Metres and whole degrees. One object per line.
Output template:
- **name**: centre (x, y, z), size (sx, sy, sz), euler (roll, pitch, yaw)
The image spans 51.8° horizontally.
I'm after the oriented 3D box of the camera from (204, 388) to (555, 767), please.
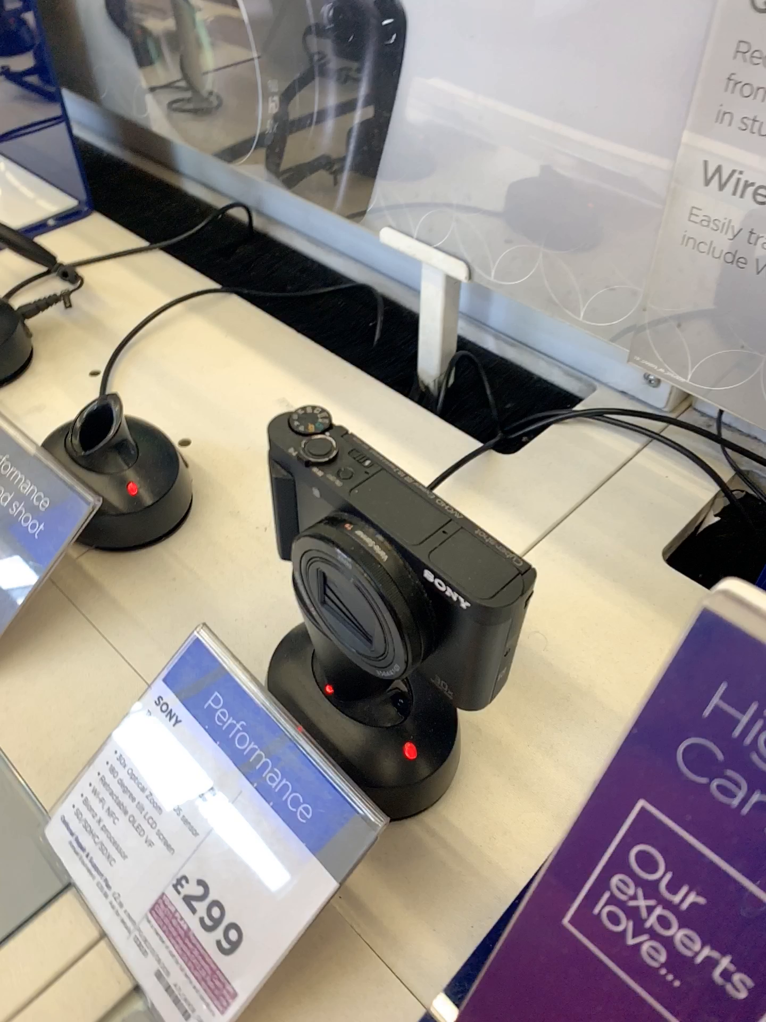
- **camera**: centre (-0.005, 0.018, 0.243), size (0.040, 0.059, 0.101), euler (-35, 57, -29)
